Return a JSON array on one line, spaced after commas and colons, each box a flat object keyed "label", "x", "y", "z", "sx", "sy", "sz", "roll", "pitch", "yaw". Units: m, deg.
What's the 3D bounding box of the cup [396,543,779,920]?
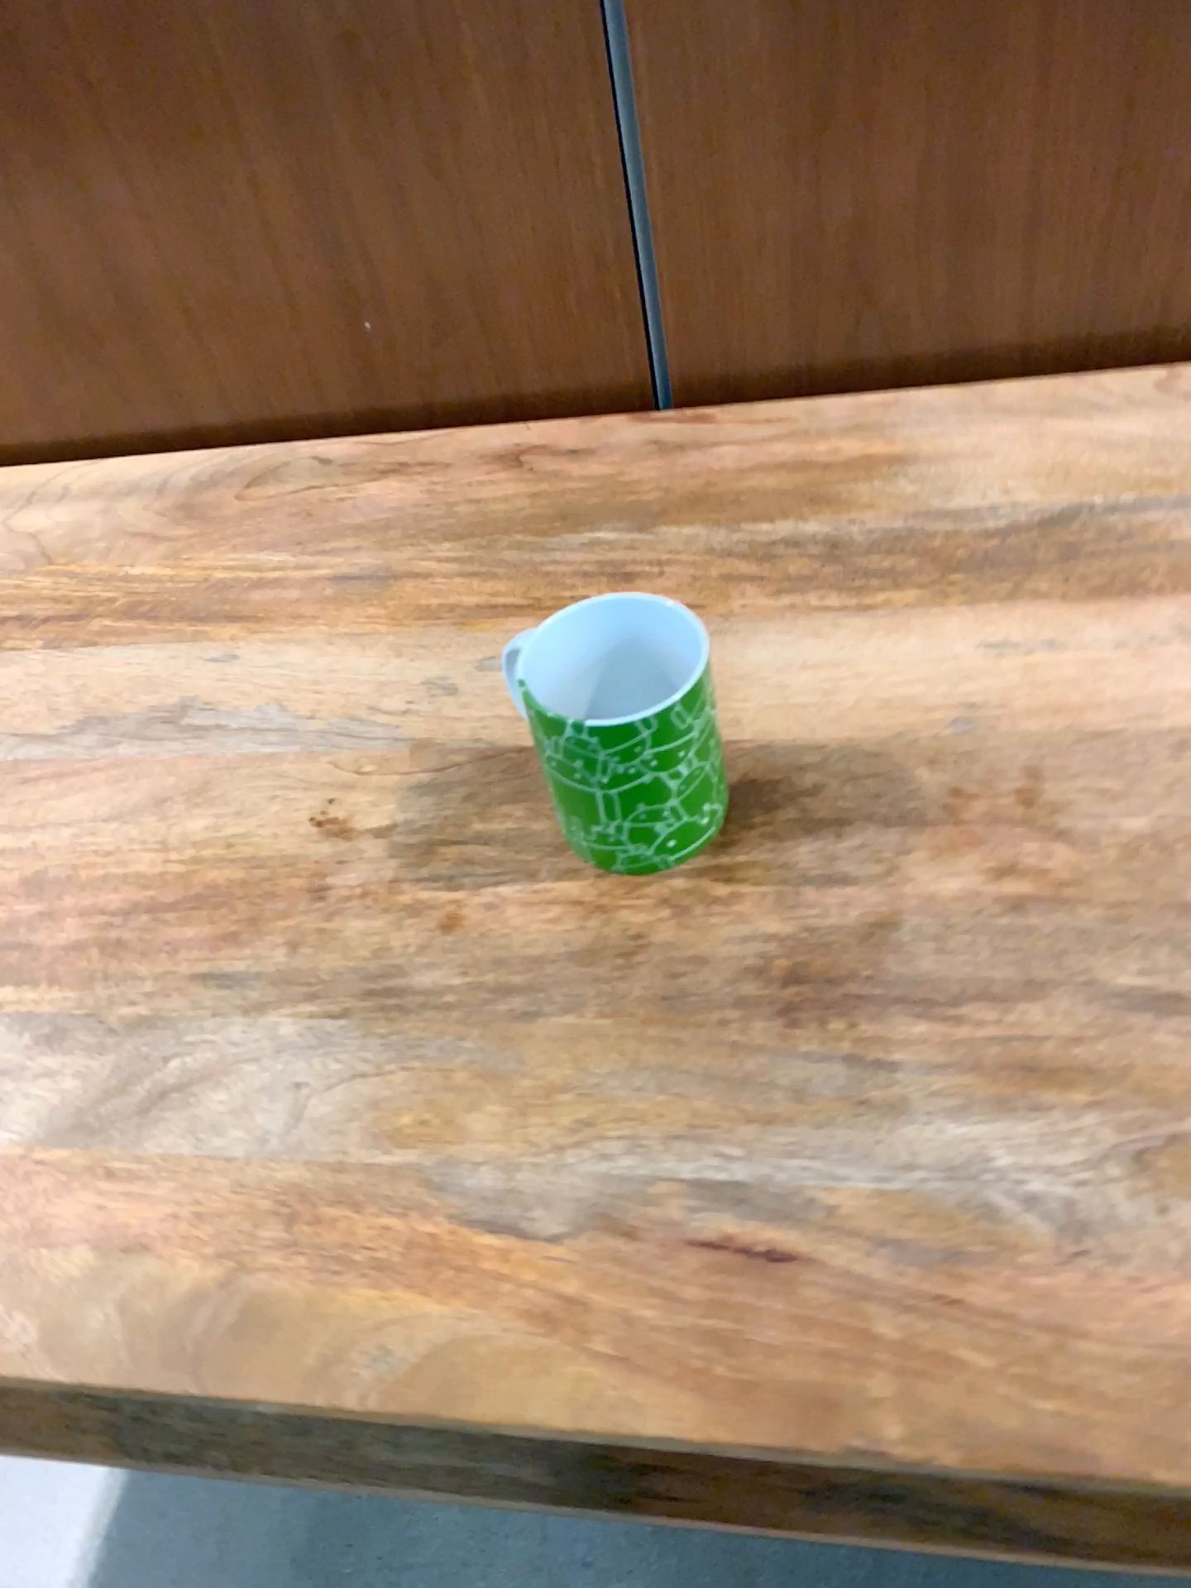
[{"label": "cup", "x": -0.002, "y": -0.033, "z": 0.545, "sx": 0.100, "sy": 0.080, "sz": 0.131, "roll": -37, "pitch": 50, "yaw": -21}]
